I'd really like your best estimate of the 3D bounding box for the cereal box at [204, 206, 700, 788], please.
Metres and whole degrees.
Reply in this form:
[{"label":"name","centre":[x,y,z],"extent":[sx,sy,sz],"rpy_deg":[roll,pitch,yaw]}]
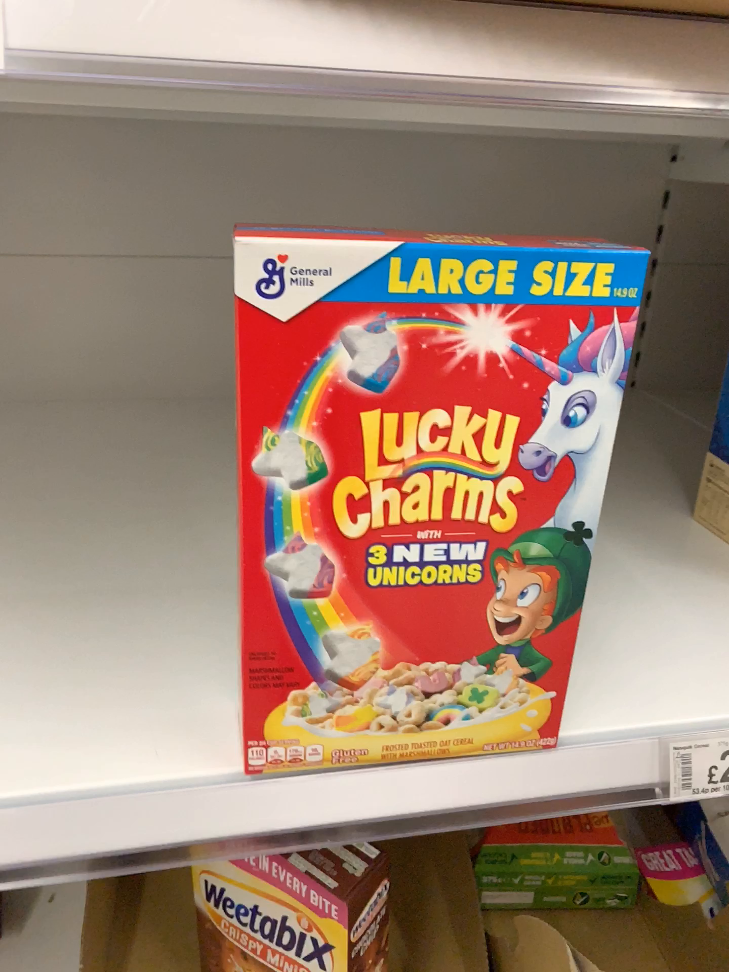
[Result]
[{"label":"cereal box","centre":[0.030,0.012,0.395],"extent":[0.210,0.288,0.071],"rpy_deg":[-2,23,-10]}]
